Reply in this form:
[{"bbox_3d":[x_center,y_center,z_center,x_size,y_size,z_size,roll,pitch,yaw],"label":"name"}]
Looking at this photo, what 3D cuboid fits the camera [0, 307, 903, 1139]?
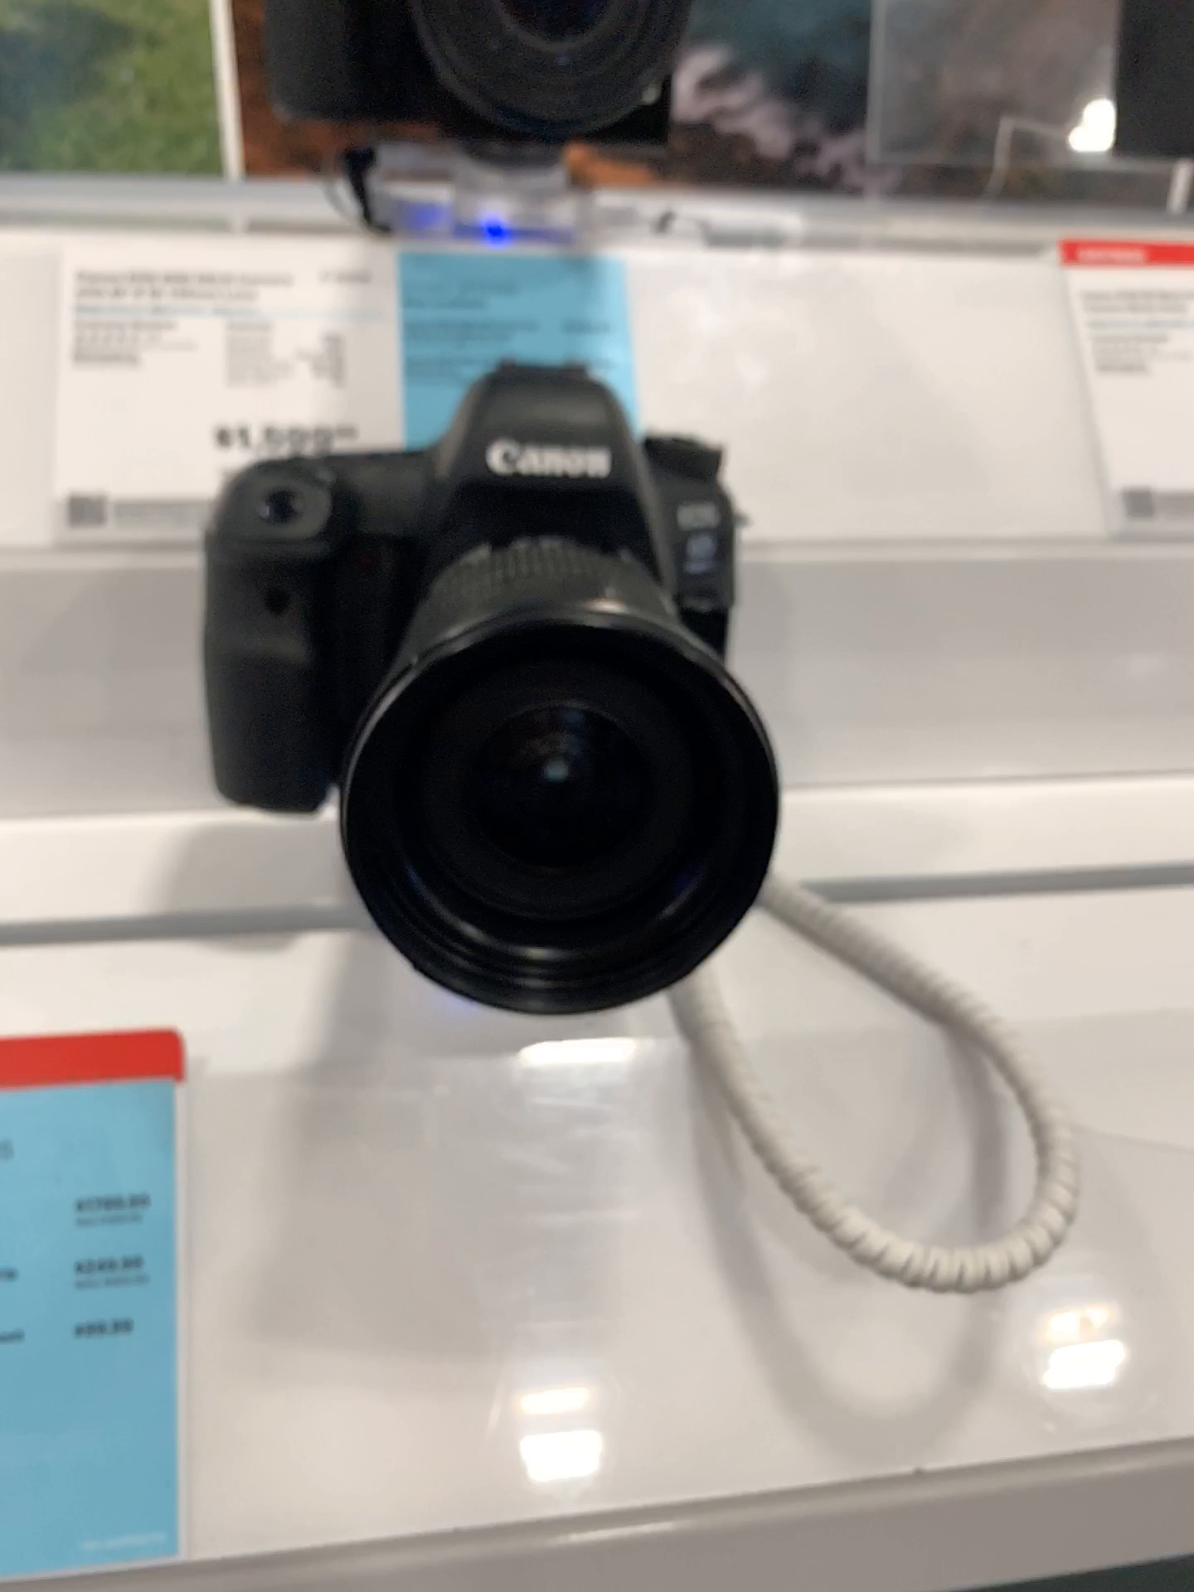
[{"bbox_3d":[-0.033,-0.036,0.293,0.137,0.123,0.181,-2,27,-7],"label":"camera"}]
